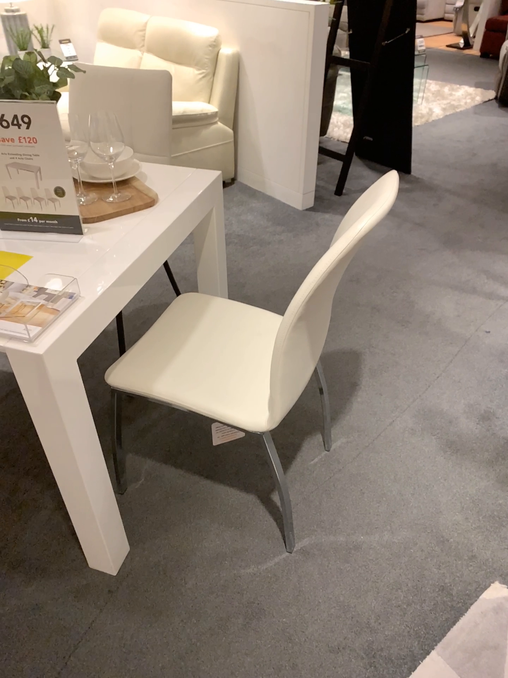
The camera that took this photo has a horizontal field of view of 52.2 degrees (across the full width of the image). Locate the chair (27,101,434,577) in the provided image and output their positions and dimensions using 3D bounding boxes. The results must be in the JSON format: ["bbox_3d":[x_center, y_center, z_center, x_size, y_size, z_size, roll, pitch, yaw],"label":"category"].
[{"bbox_3d":[-0.017,0.007,1.295,0.645,0.955,0.483,15,40,18],"label":"chair"}]
